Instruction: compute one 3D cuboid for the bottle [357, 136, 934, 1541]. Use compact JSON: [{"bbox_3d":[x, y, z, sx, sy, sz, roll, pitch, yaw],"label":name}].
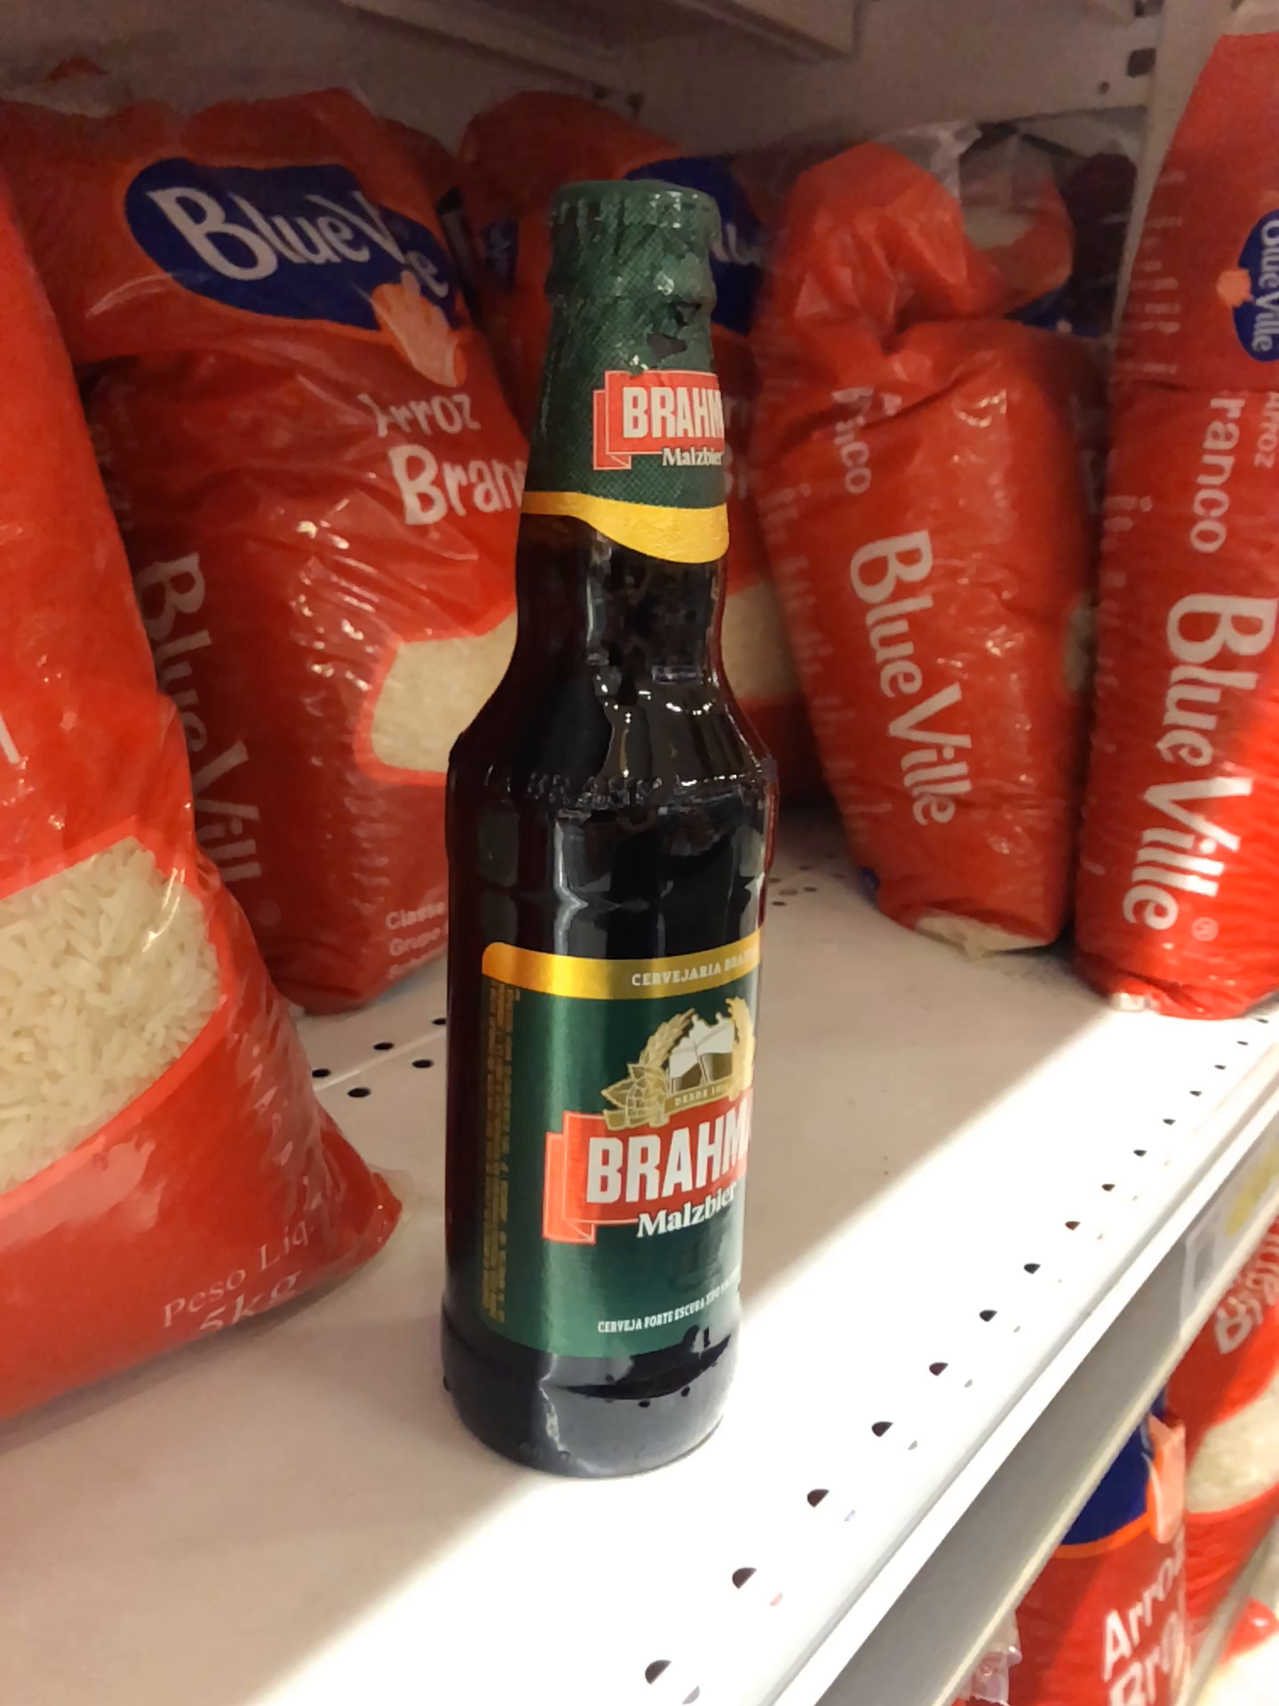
[{"bbox_3d":[-0.004,0.000,0.266,0.060,0.229,0.070,18,22,37],"label":"bottle"}]
